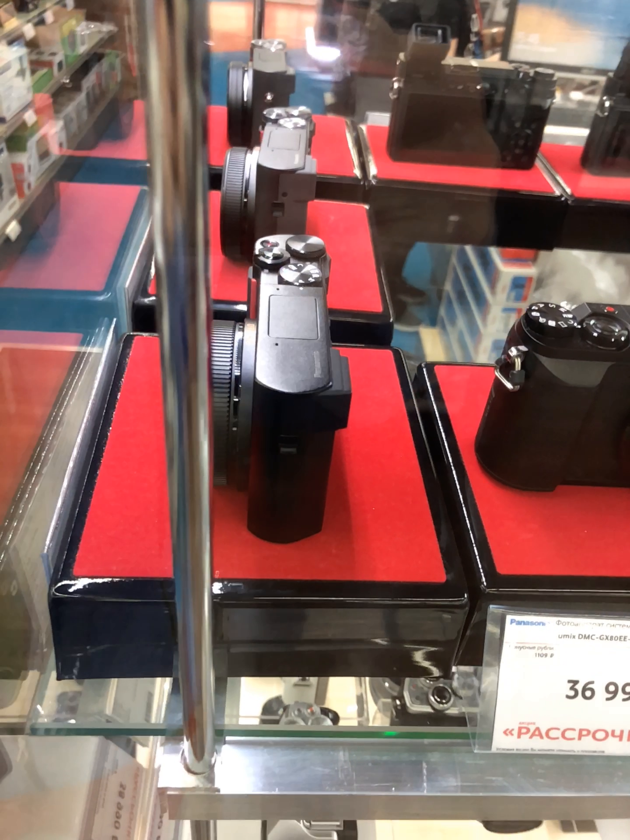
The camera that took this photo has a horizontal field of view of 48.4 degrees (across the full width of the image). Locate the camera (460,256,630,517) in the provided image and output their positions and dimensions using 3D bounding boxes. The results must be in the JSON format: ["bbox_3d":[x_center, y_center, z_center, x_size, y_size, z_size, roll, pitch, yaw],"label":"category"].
[{"bbox_3d":[0.117,-0.011,0.261,0.102,0.076,0.054,2,39,-5],"label":"camera"}]

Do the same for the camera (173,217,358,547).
[{"bbox_3d":[-0.019,-0.018,0.262,0.052,0.070,0.110,2,39,-5],"label":"camera"}]

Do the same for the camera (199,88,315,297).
[{"bbox_3d":[-0.031,-0.136,0.409,0.055,0.076,0.114,4,39,-2],"label":"camera"}]
